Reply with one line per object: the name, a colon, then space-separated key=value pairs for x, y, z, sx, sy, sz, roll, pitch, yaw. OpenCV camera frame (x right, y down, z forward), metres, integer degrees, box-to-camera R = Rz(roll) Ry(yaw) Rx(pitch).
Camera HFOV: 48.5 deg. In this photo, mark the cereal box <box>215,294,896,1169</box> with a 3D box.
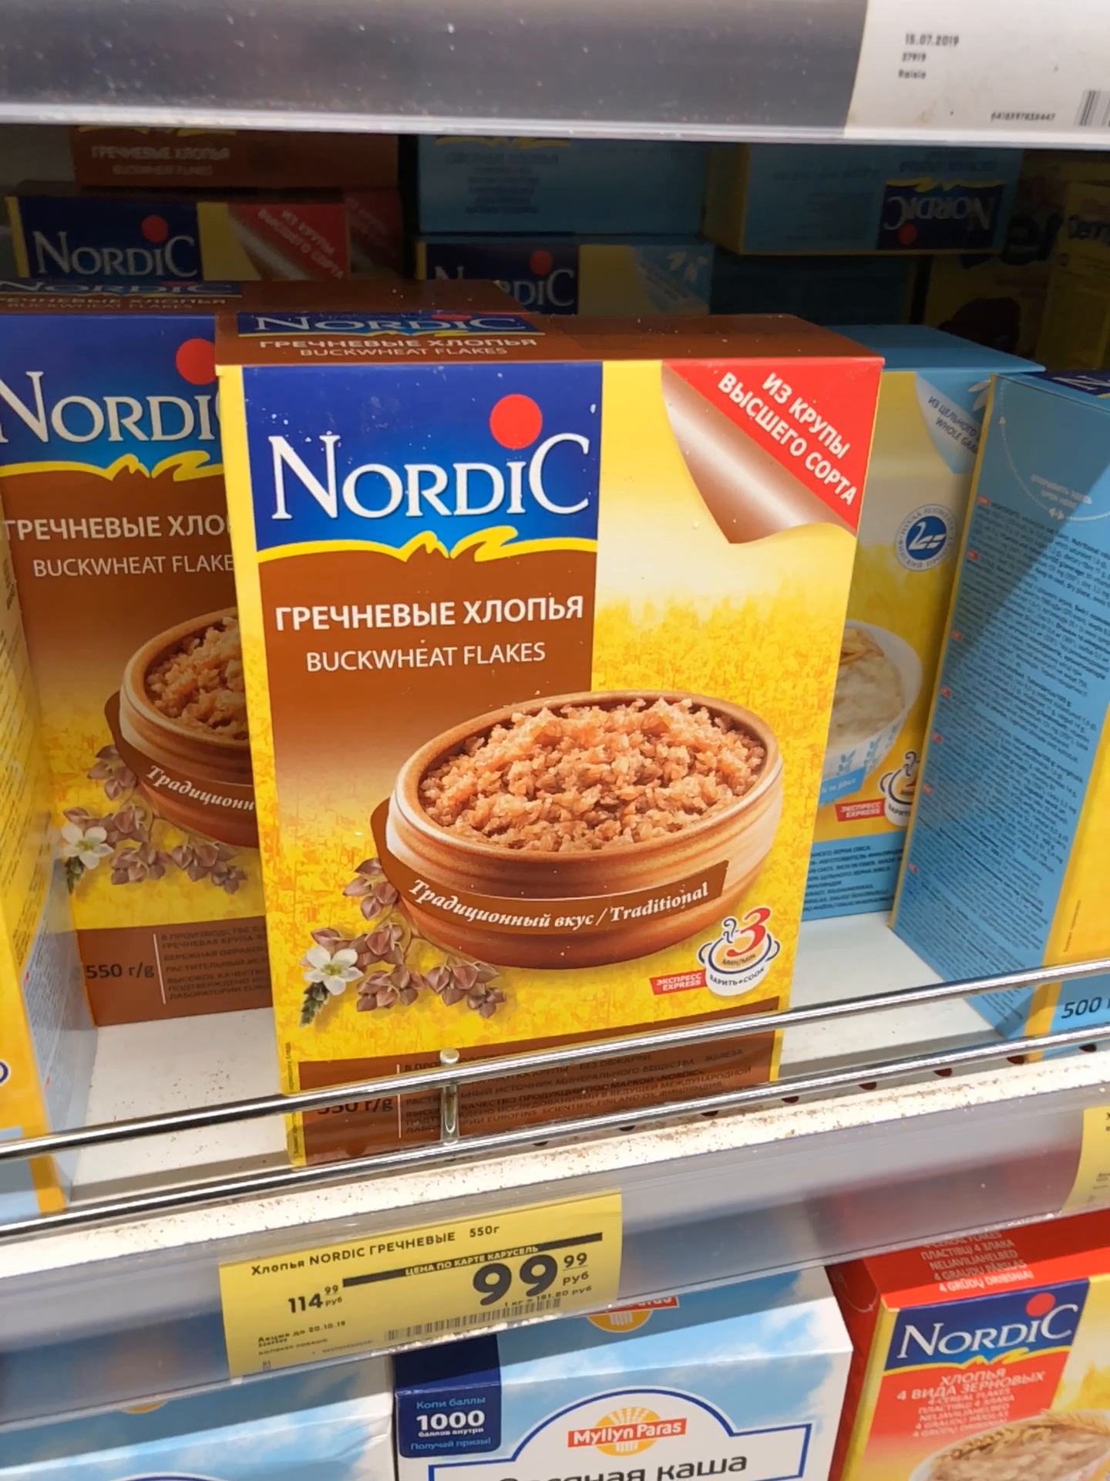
cereal box: x=-0.006 y=-0.002 z=0.324 sx=0.140 sy=0.209 sz=0.070 roll=-5 pitch=28 yaw=-12
